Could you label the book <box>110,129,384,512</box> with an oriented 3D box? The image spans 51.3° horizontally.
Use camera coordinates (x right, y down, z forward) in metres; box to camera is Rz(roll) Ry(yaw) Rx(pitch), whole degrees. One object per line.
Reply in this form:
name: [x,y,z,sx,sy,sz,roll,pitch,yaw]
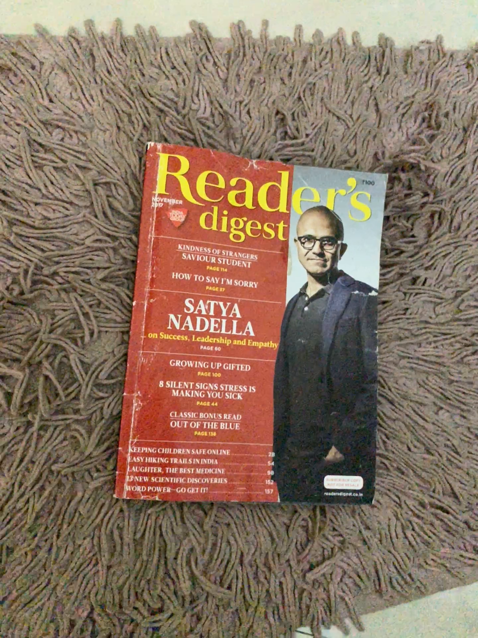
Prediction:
book: [0.009,0.002,0.255,0.130,0.020,0.180,5,81,-12]
